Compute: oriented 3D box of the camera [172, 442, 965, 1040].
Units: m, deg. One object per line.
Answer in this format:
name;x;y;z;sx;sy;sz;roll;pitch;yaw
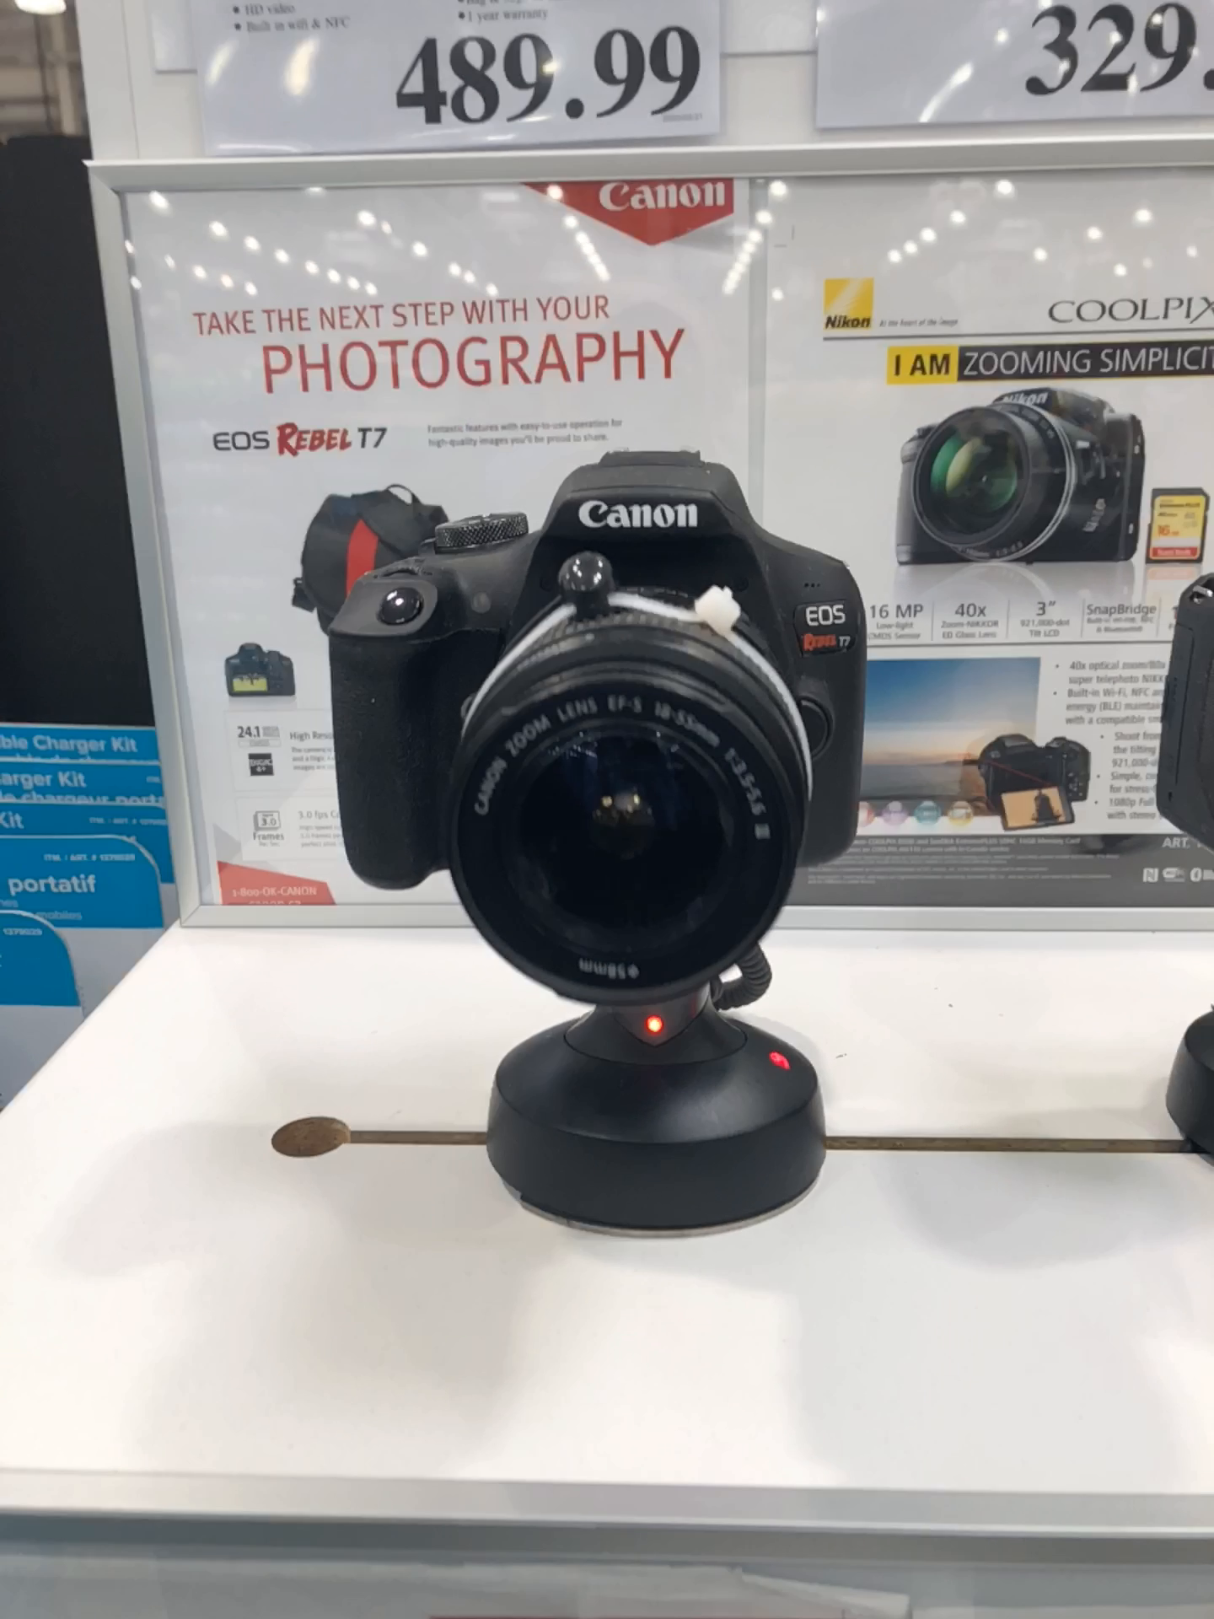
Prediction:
camera;-0.005;-0.024;0.293;0.130;0.100;0.120;-1;17;1
